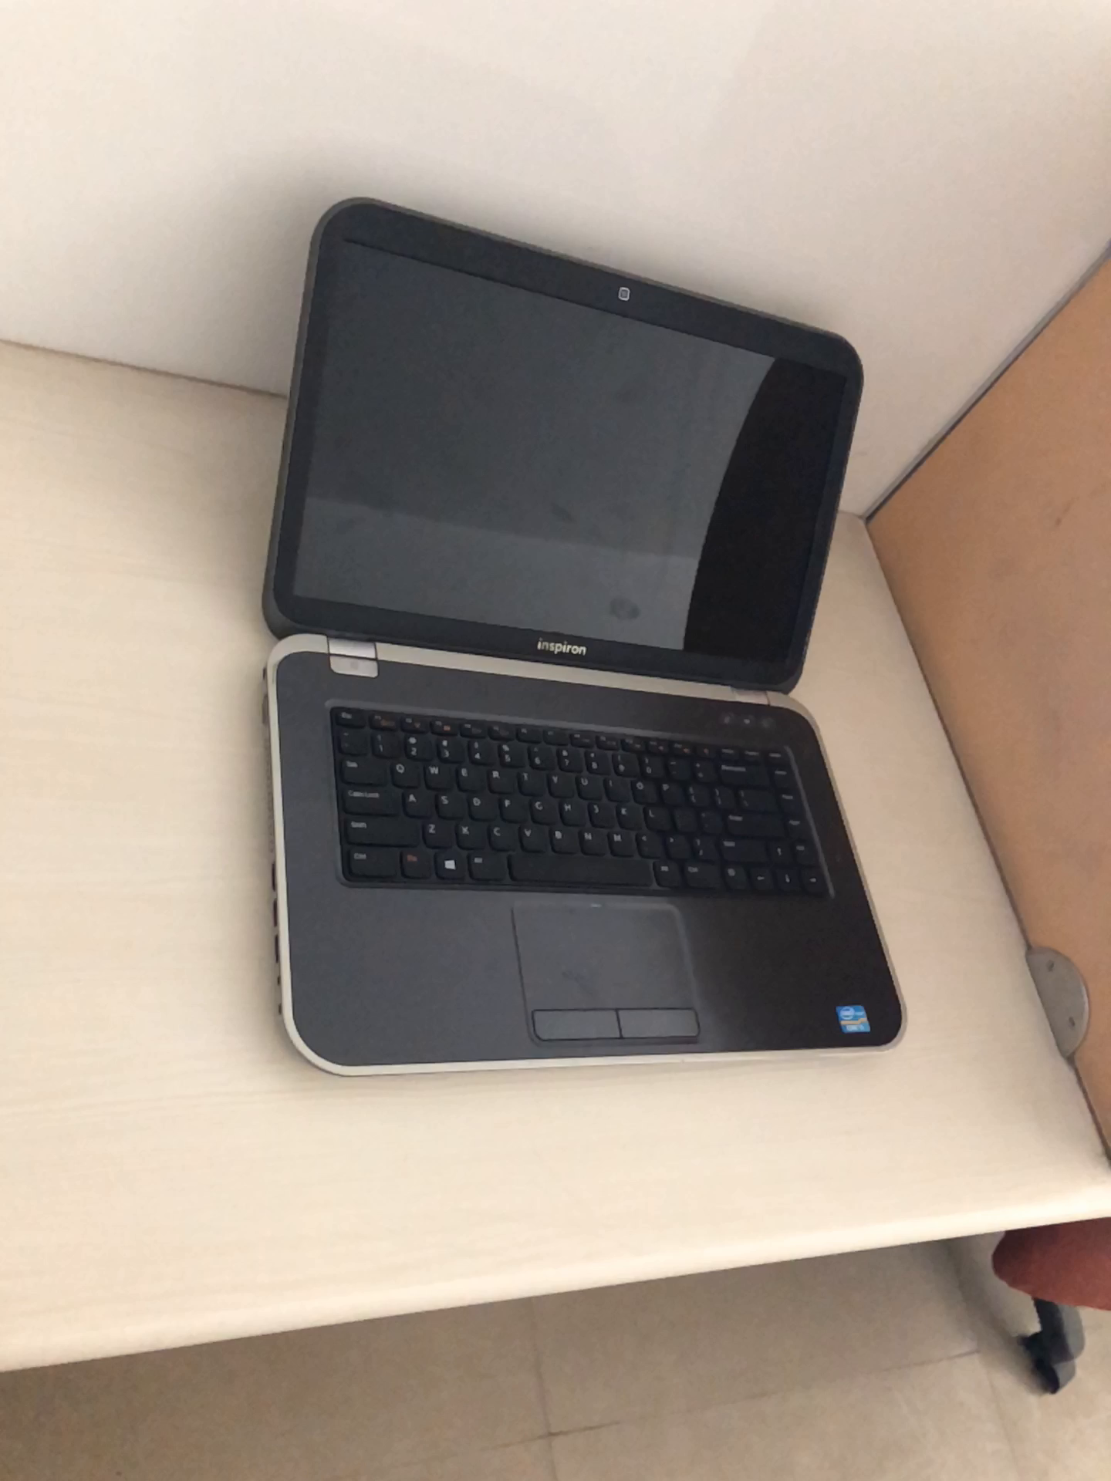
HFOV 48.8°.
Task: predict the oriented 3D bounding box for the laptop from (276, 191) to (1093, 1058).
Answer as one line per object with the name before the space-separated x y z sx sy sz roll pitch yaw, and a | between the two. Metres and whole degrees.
laptop | 0.043 -0.057 0.672 0.340 0.152 0.410 6 57 -26
